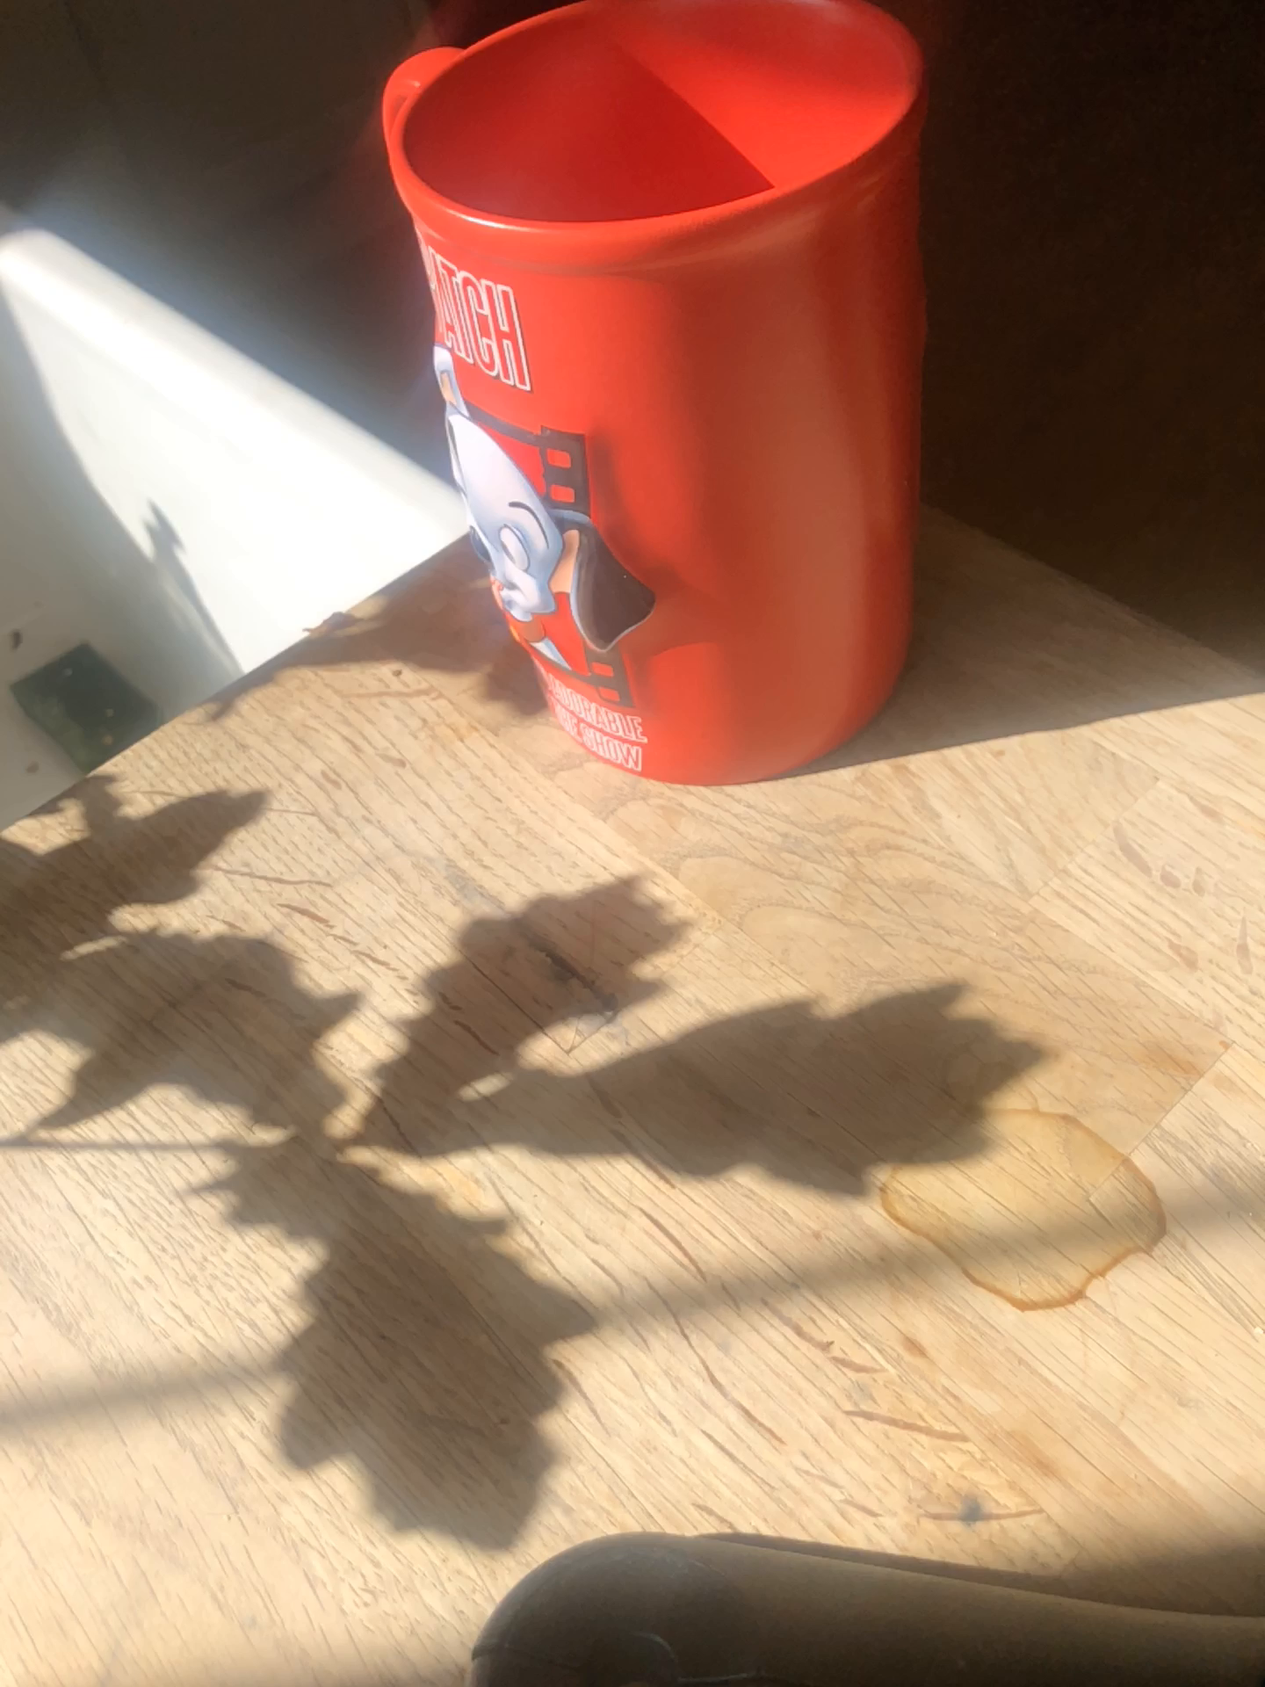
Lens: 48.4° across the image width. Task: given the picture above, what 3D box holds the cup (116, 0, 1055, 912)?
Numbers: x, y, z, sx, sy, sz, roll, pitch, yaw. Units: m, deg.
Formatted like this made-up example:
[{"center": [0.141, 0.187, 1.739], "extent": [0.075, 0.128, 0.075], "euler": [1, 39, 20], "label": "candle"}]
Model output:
[{"center": [-0.005, -0.086, 0.274], "extent": [0.095, 0.119, 0.131], "euler": [-38, 53, -18], "label": "cup"}]
